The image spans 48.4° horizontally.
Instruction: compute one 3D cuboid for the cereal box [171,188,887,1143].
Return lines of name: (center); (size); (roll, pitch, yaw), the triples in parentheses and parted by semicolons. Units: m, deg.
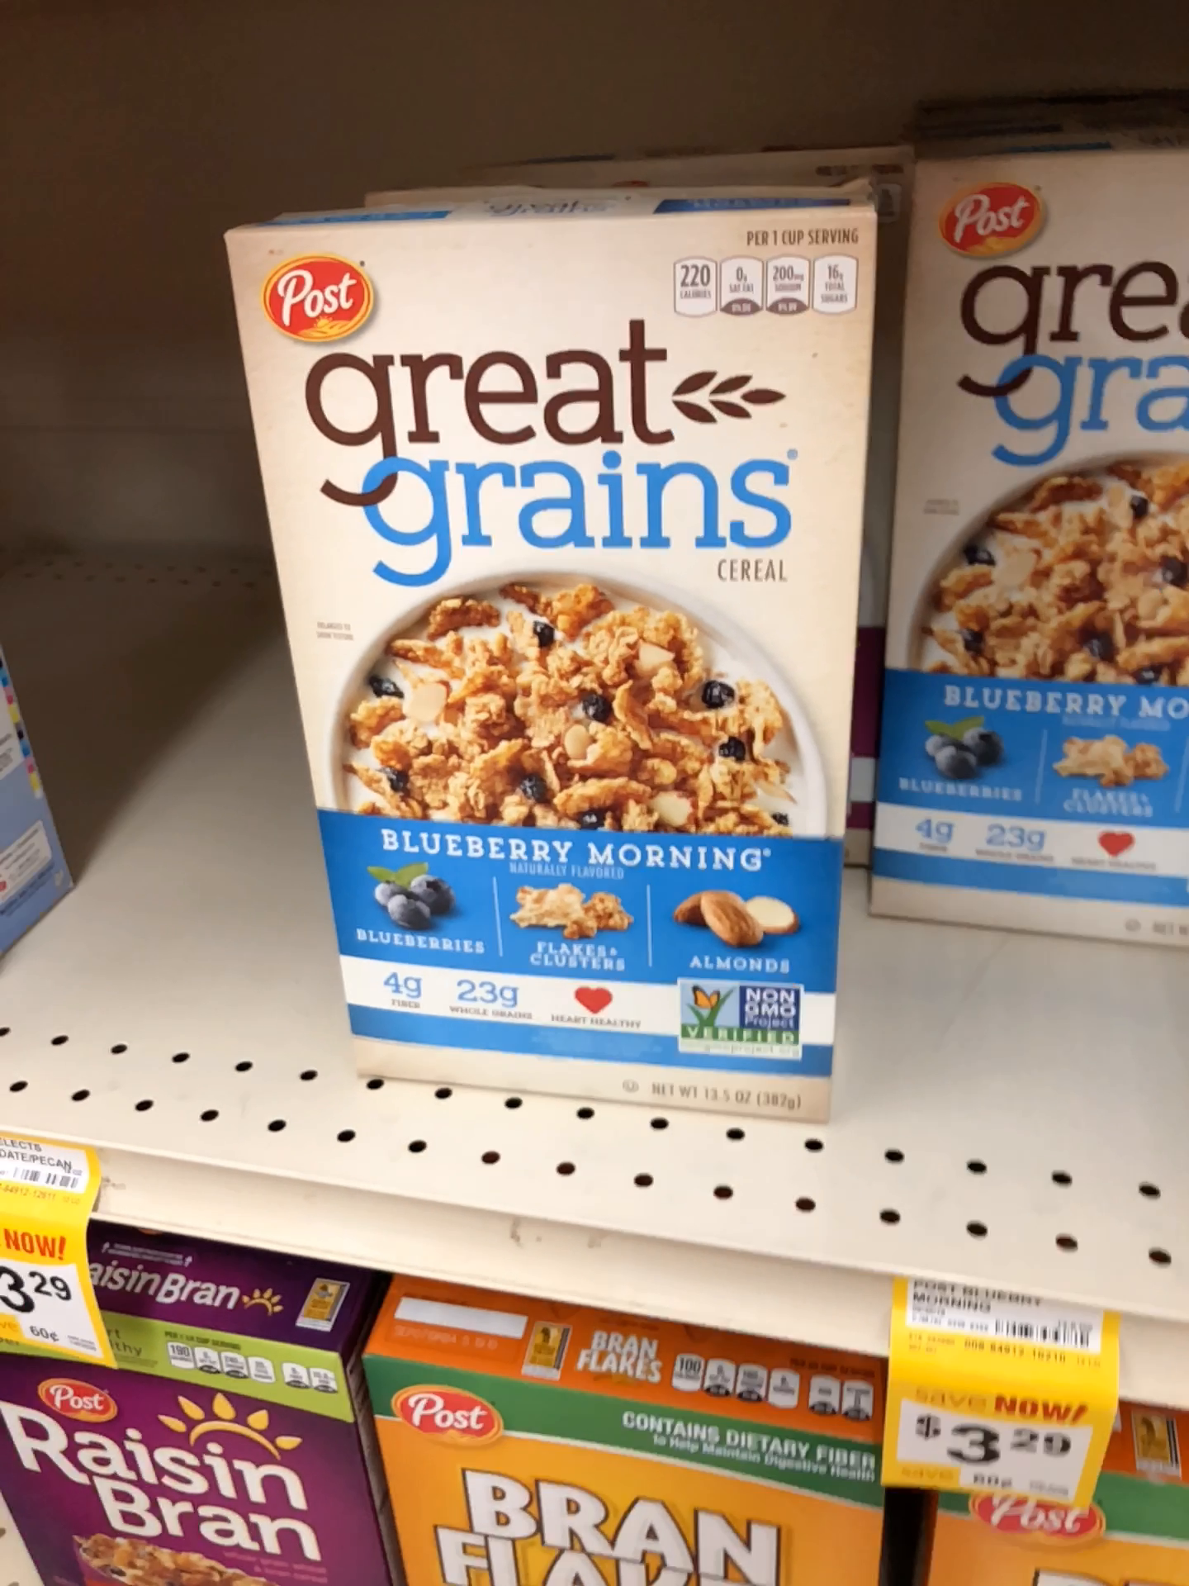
cereal box: (-0.009, -0.030, 0.412); (0.180, 0.279, 0.060); (3, 27, 12)
